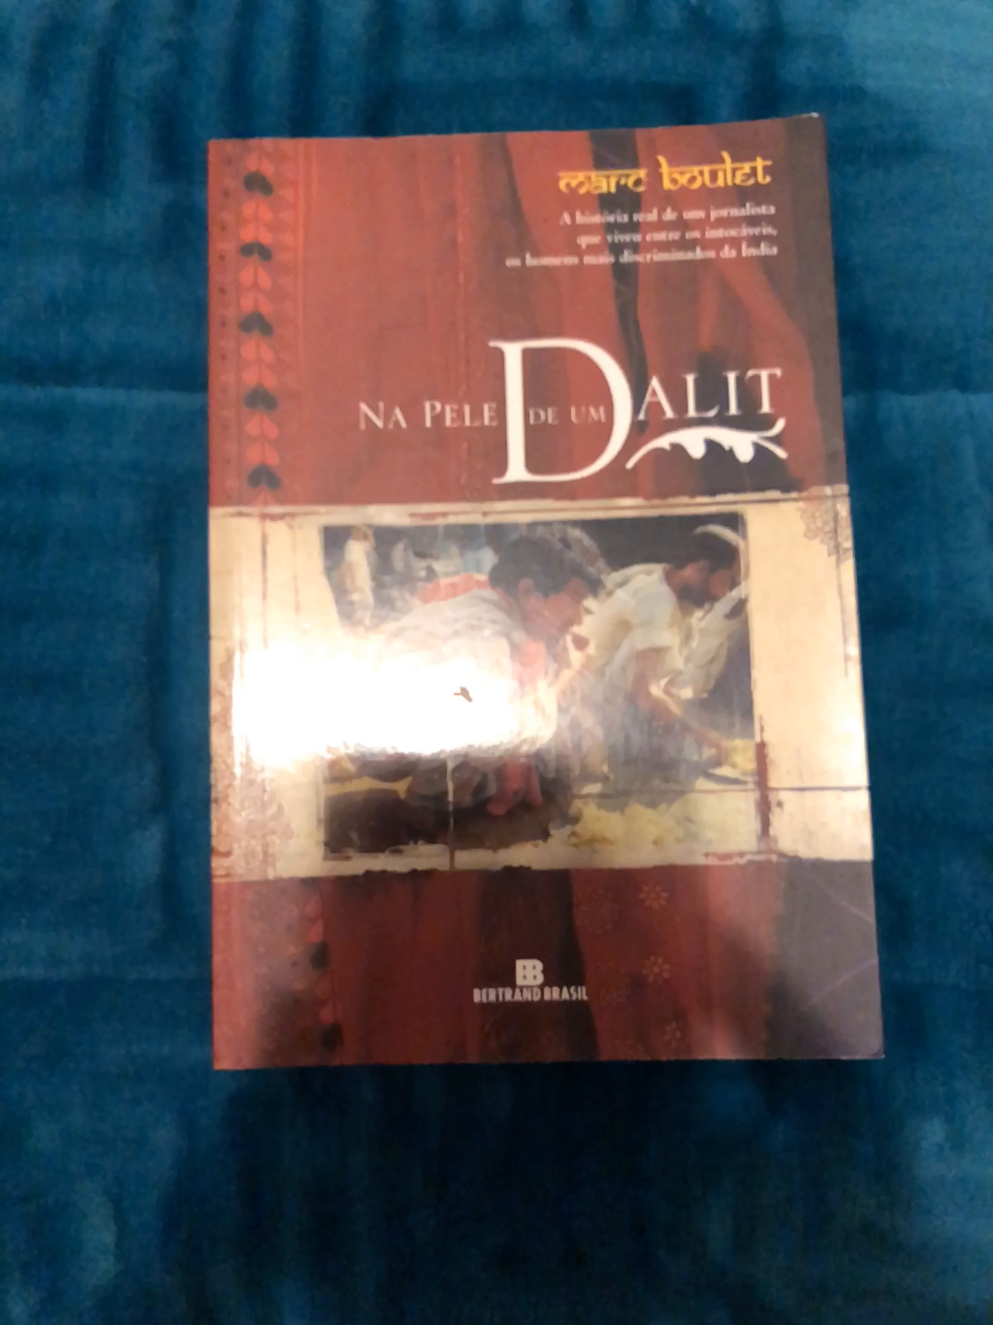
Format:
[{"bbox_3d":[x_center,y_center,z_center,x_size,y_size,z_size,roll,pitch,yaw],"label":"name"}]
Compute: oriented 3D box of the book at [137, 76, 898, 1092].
[{"bbox_3d":[0.001,-0.019,0.258,0.160,0.030,0.220,-2,85,2],"label":"book"}]
